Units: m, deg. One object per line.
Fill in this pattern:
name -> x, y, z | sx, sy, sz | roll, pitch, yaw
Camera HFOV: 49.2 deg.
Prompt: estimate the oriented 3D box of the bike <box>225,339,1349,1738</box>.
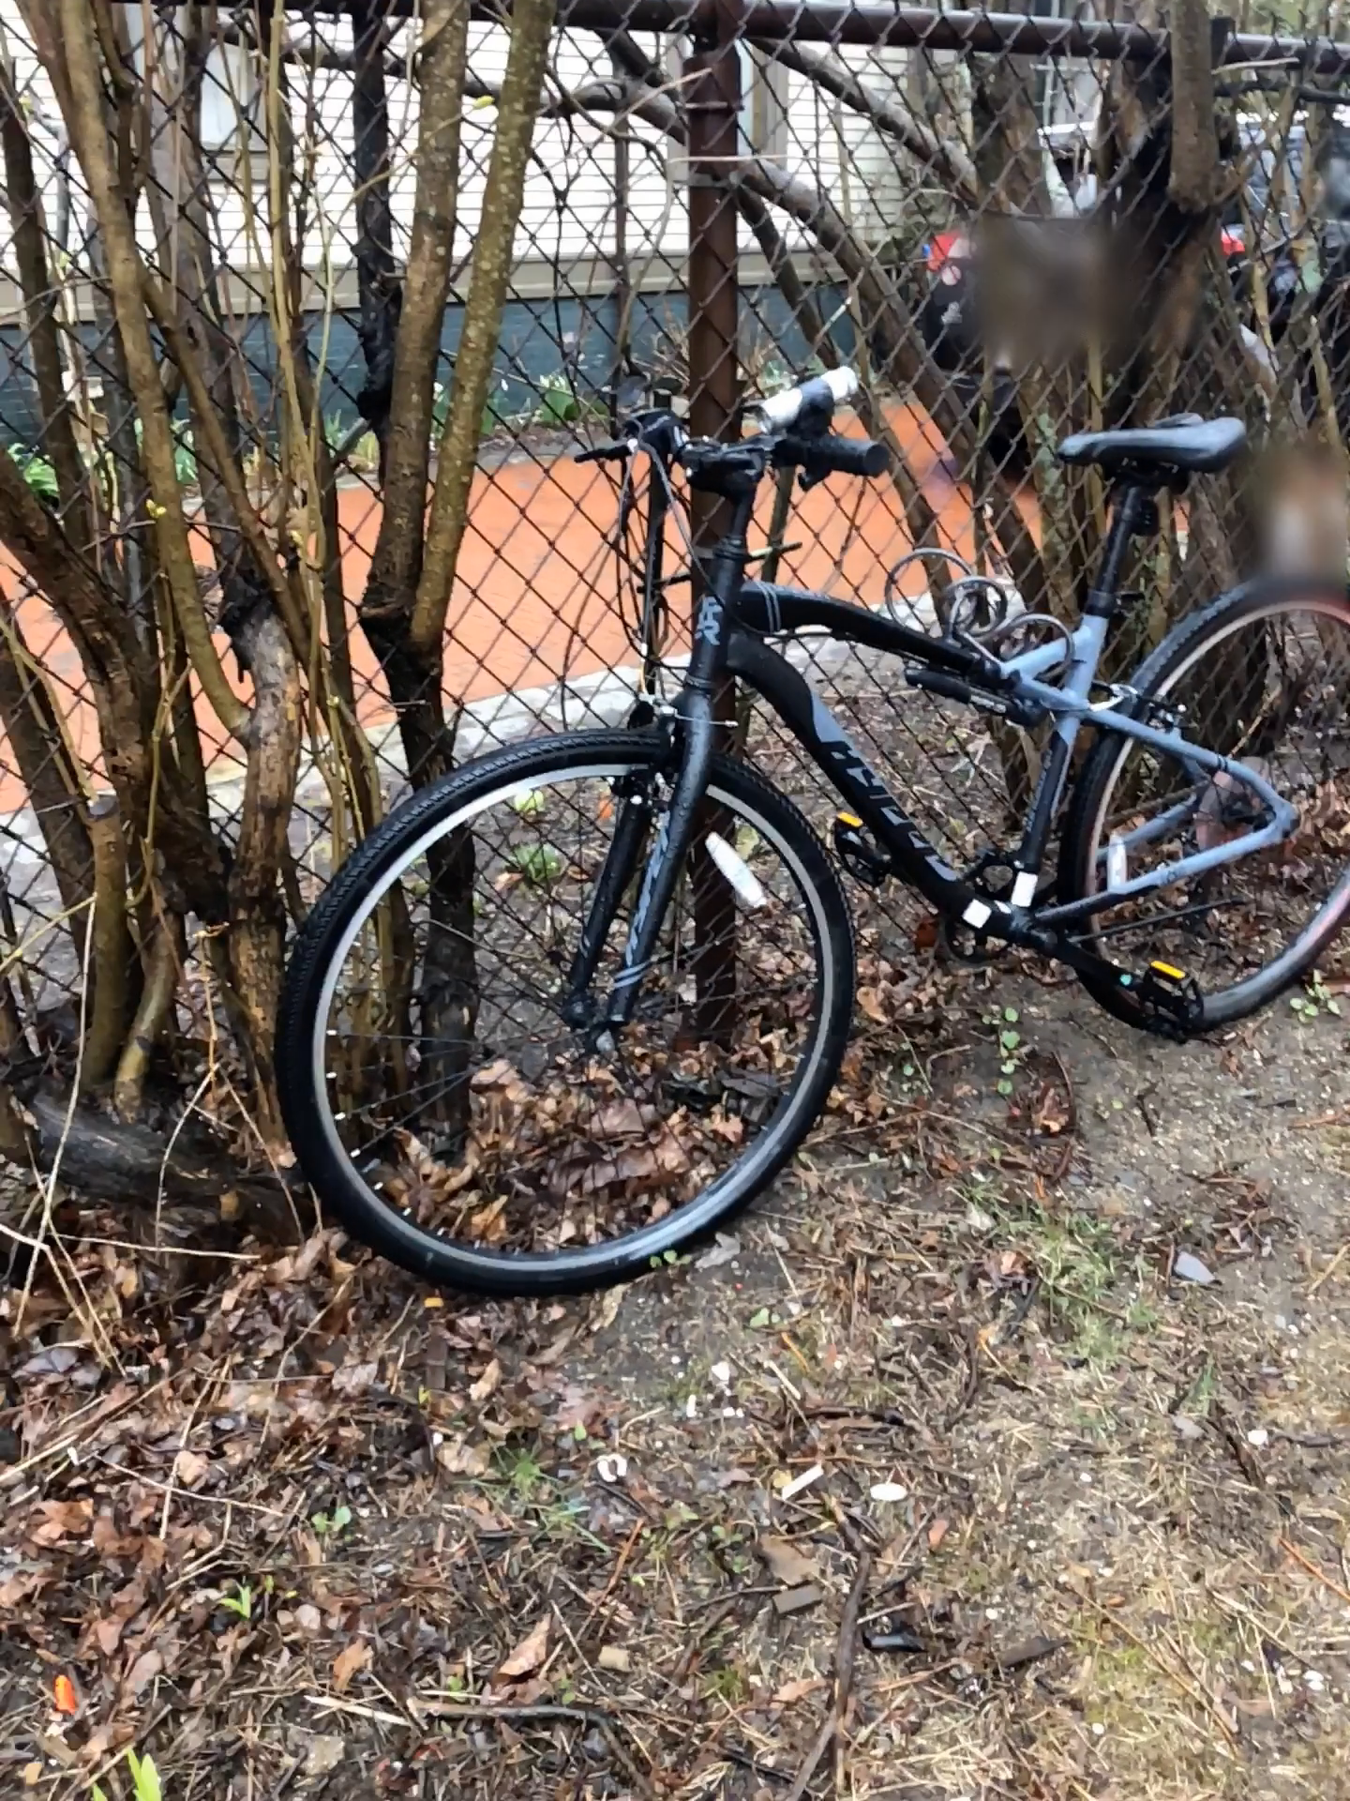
bike -> 0.467, 0.001, 1.948 | 1.888, 1.067, 0.538 | -19, 30, -25
